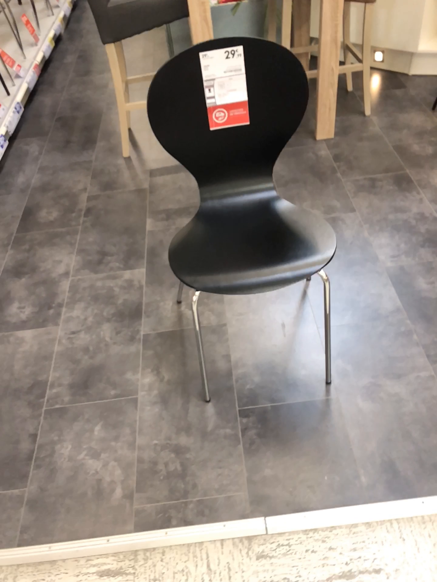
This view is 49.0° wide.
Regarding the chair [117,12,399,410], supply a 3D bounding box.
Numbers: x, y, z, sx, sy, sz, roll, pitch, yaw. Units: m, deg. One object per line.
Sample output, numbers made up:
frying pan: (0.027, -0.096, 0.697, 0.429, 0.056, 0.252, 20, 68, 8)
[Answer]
chair: (0.090, -0.163, 1.317, 0.490, 0.895, 0.503, -8, 45, 0)
